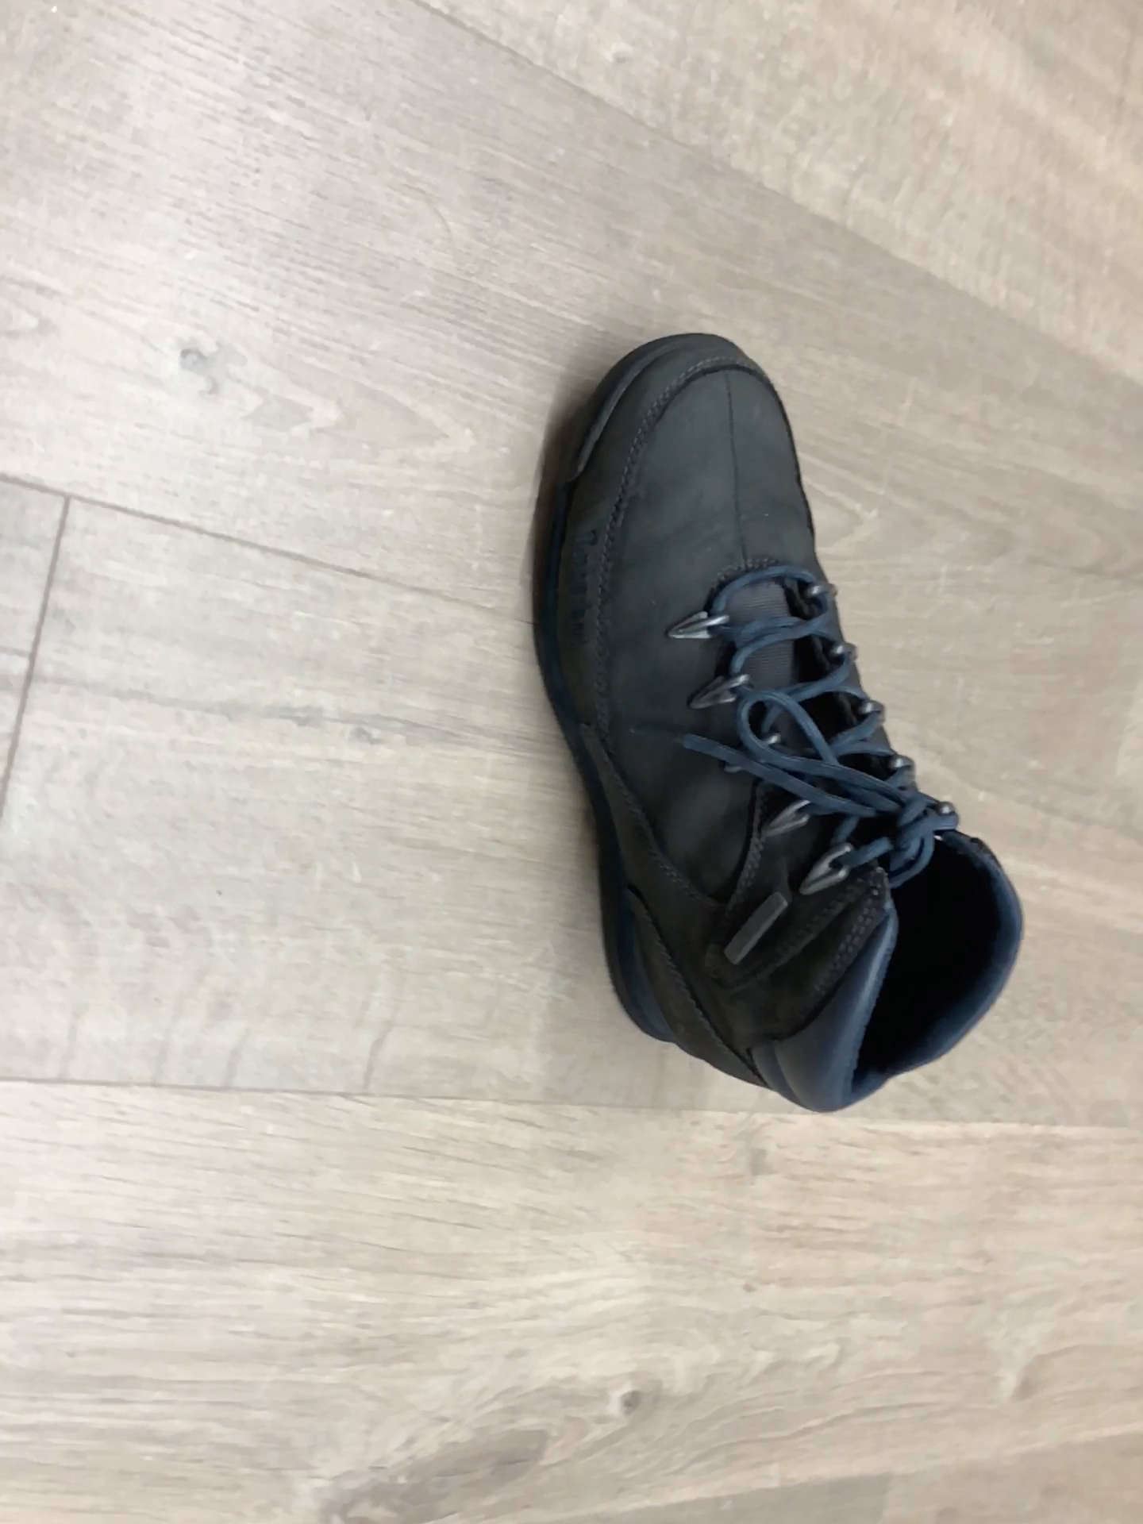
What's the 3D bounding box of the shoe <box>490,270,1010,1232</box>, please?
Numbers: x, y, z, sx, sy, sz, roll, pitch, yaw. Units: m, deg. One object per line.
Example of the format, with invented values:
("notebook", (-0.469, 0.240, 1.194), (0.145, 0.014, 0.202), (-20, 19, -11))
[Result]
("shoe", (0.065, -0.010, 0.451), (0.110, 0.130, 0.290), (-13, 105, -27))
